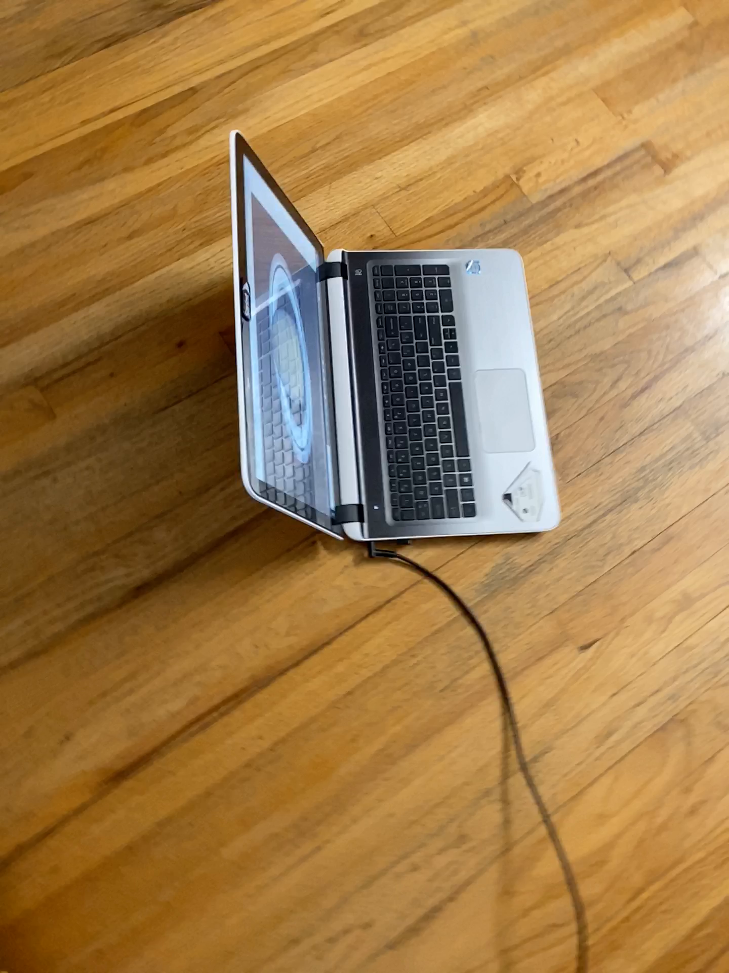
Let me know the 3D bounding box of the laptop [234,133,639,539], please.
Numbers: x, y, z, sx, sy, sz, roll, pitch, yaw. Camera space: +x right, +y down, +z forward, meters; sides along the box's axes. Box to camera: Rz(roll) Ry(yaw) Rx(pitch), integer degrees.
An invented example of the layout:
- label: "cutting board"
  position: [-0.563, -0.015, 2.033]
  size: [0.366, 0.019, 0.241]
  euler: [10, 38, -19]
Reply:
- label: "laptop"
  position: [0.053, -0.154, 0.815]
  size: [0.363, 0.203, 0.371]
  euler: [-2, 73, -7]
